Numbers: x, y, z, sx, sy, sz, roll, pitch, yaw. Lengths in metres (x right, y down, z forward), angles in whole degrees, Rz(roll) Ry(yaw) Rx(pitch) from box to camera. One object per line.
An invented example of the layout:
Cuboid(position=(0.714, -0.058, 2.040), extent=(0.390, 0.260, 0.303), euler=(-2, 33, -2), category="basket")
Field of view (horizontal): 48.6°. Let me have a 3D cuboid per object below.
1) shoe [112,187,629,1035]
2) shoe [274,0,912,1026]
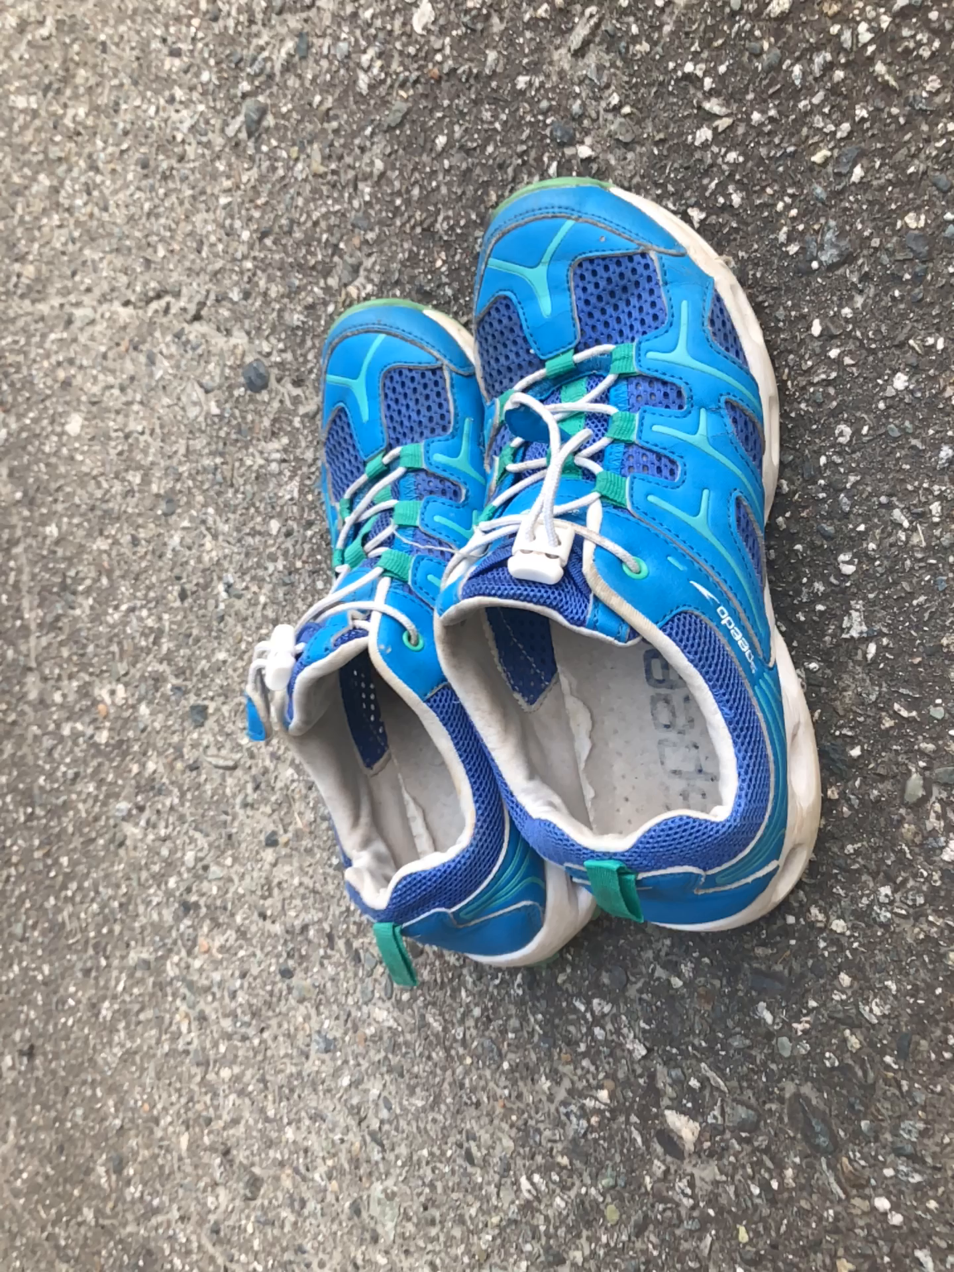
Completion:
Cuboid(position=(-0.040, -0.004, 0.380), extent=(0.100, 0.090, 0.260), euler=(-17, 83, 38), category="shoe")
Cuboid(position=(0.032, -0.027, 0.310), extent=(0.100, 0.090, 0.250), euler=(-17, 83, 38), category="shoe")
